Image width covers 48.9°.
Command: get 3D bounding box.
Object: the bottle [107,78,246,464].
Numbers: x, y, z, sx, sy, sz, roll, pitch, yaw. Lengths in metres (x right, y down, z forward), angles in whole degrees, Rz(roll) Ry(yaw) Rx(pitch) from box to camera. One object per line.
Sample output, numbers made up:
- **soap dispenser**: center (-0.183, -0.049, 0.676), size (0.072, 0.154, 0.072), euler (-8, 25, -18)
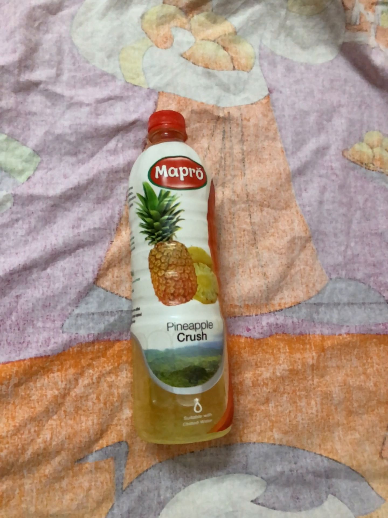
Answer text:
- **bottle**: center (-0.019, 0.004, 0.315), size (0.080, 0.060, 0.250), euler (0, 81, -17)
